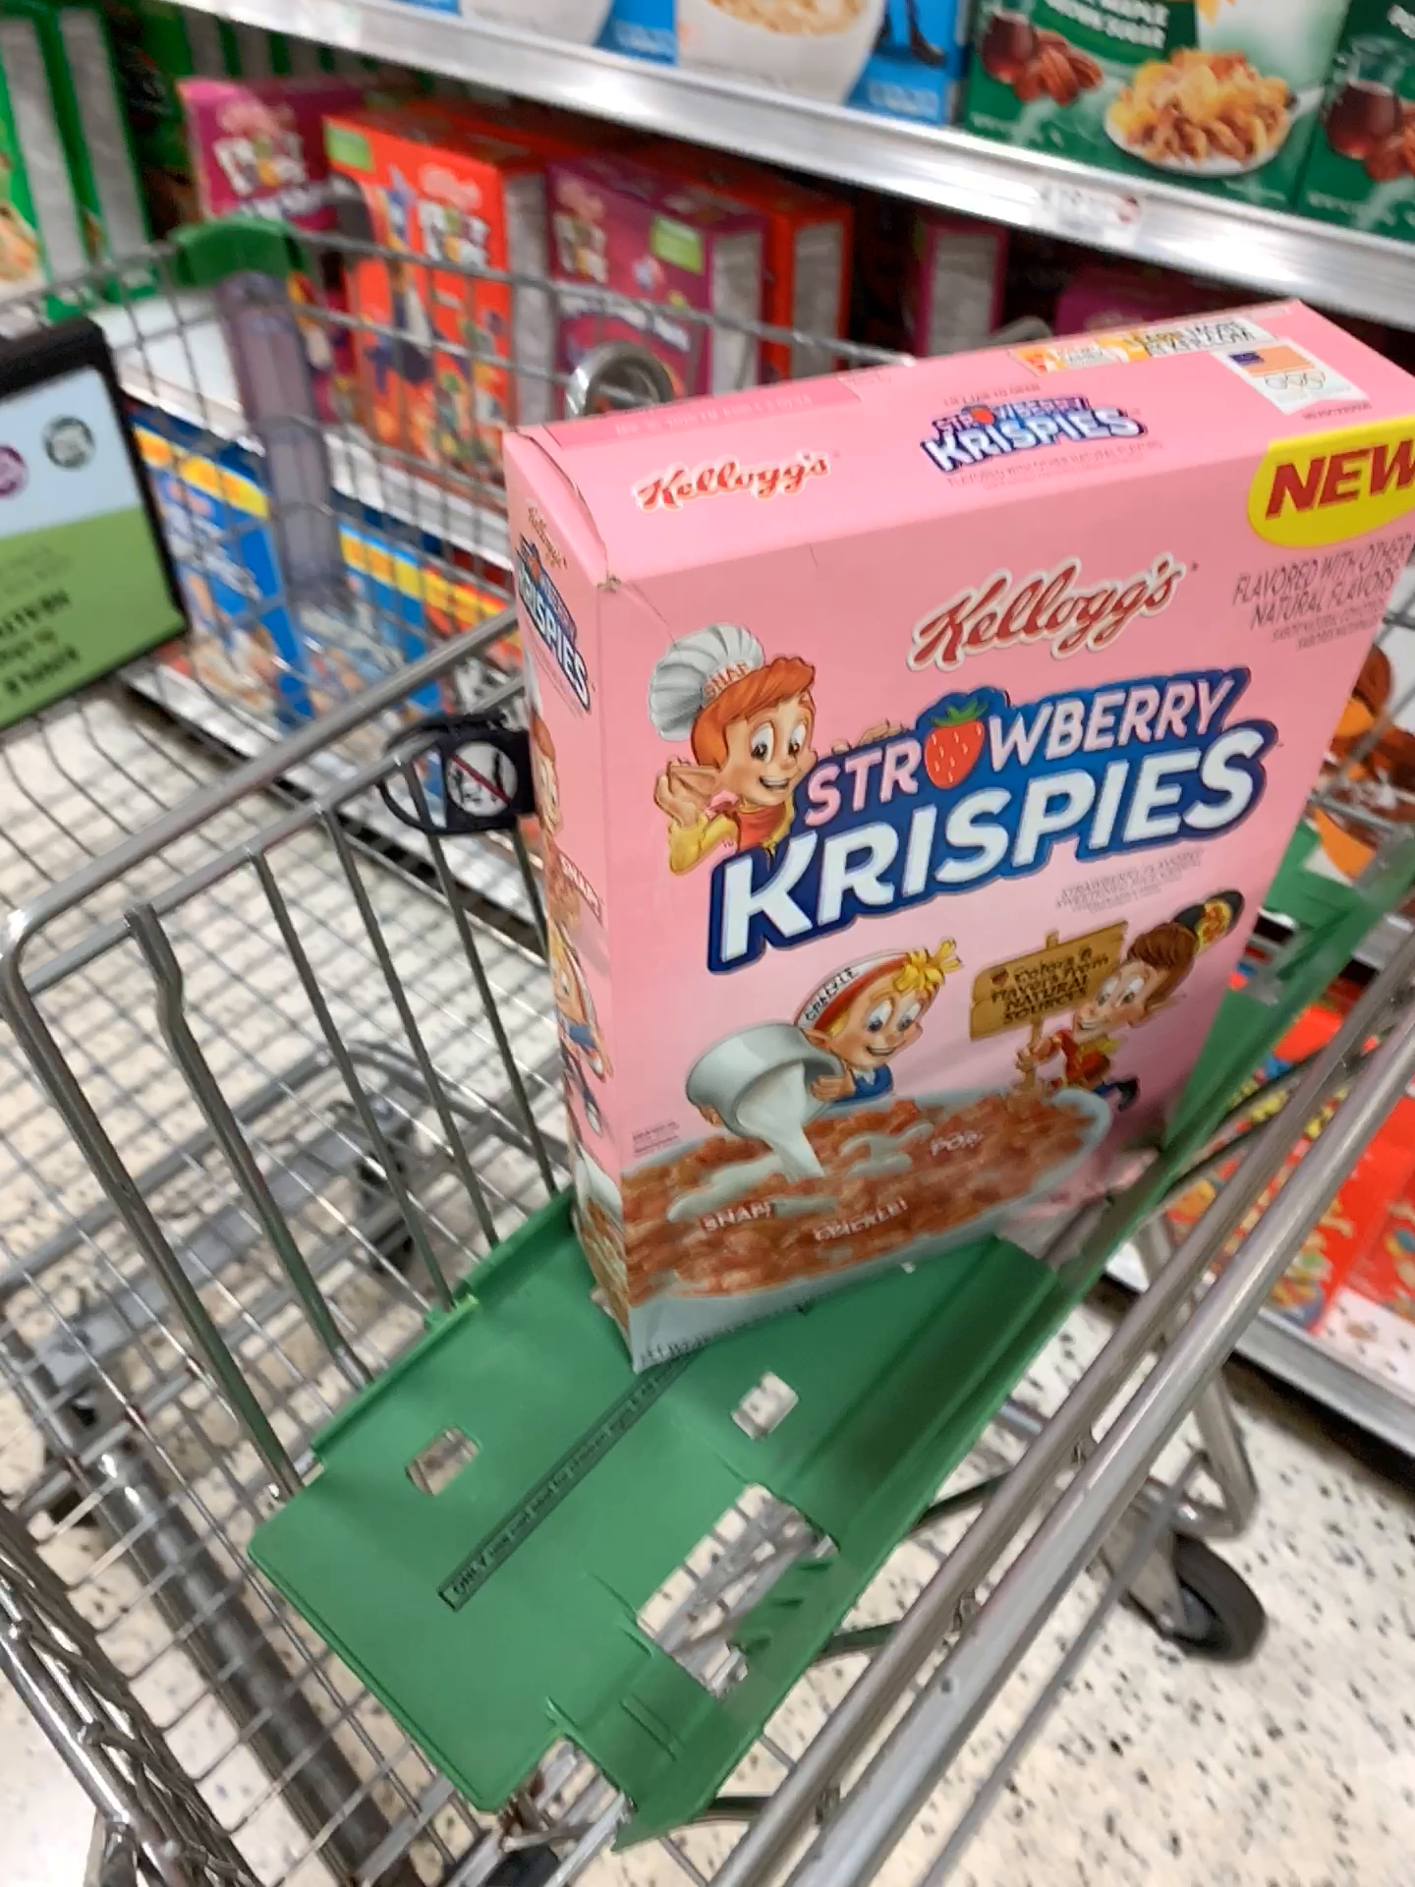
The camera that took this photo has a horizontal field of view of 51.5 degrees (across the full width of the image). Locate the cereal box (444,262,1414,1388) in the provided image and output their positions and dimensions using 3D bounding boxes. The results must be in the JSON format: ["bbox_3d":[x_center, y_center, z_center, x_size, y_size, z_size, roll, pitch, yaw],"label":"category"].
[{"bbox_3d":[0.051,-0.011,0.402,0.210,0.297,0.061,-15,49,-17],"label":"cereal box"}]
